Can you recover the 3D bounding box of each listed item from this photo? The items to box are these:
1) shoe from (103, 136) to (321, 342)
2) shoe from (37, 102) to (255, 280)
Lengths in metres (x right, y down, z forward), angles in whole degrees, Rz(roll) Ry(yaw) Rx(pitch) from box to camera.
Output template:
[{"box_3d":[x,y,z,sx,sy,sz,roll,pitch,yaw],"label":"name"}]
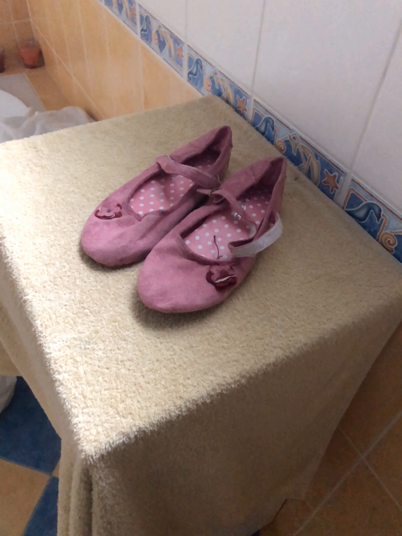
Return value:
[{"box_3d":[0.022,-0.046,0.455,0.100,0.050,0.241,28,52,21],"label":"shoe"},{"box_3d":[-0.047,-0.099,0.489,0.100,0.050,0.241,28,52,21],"label":"shoe"}]
